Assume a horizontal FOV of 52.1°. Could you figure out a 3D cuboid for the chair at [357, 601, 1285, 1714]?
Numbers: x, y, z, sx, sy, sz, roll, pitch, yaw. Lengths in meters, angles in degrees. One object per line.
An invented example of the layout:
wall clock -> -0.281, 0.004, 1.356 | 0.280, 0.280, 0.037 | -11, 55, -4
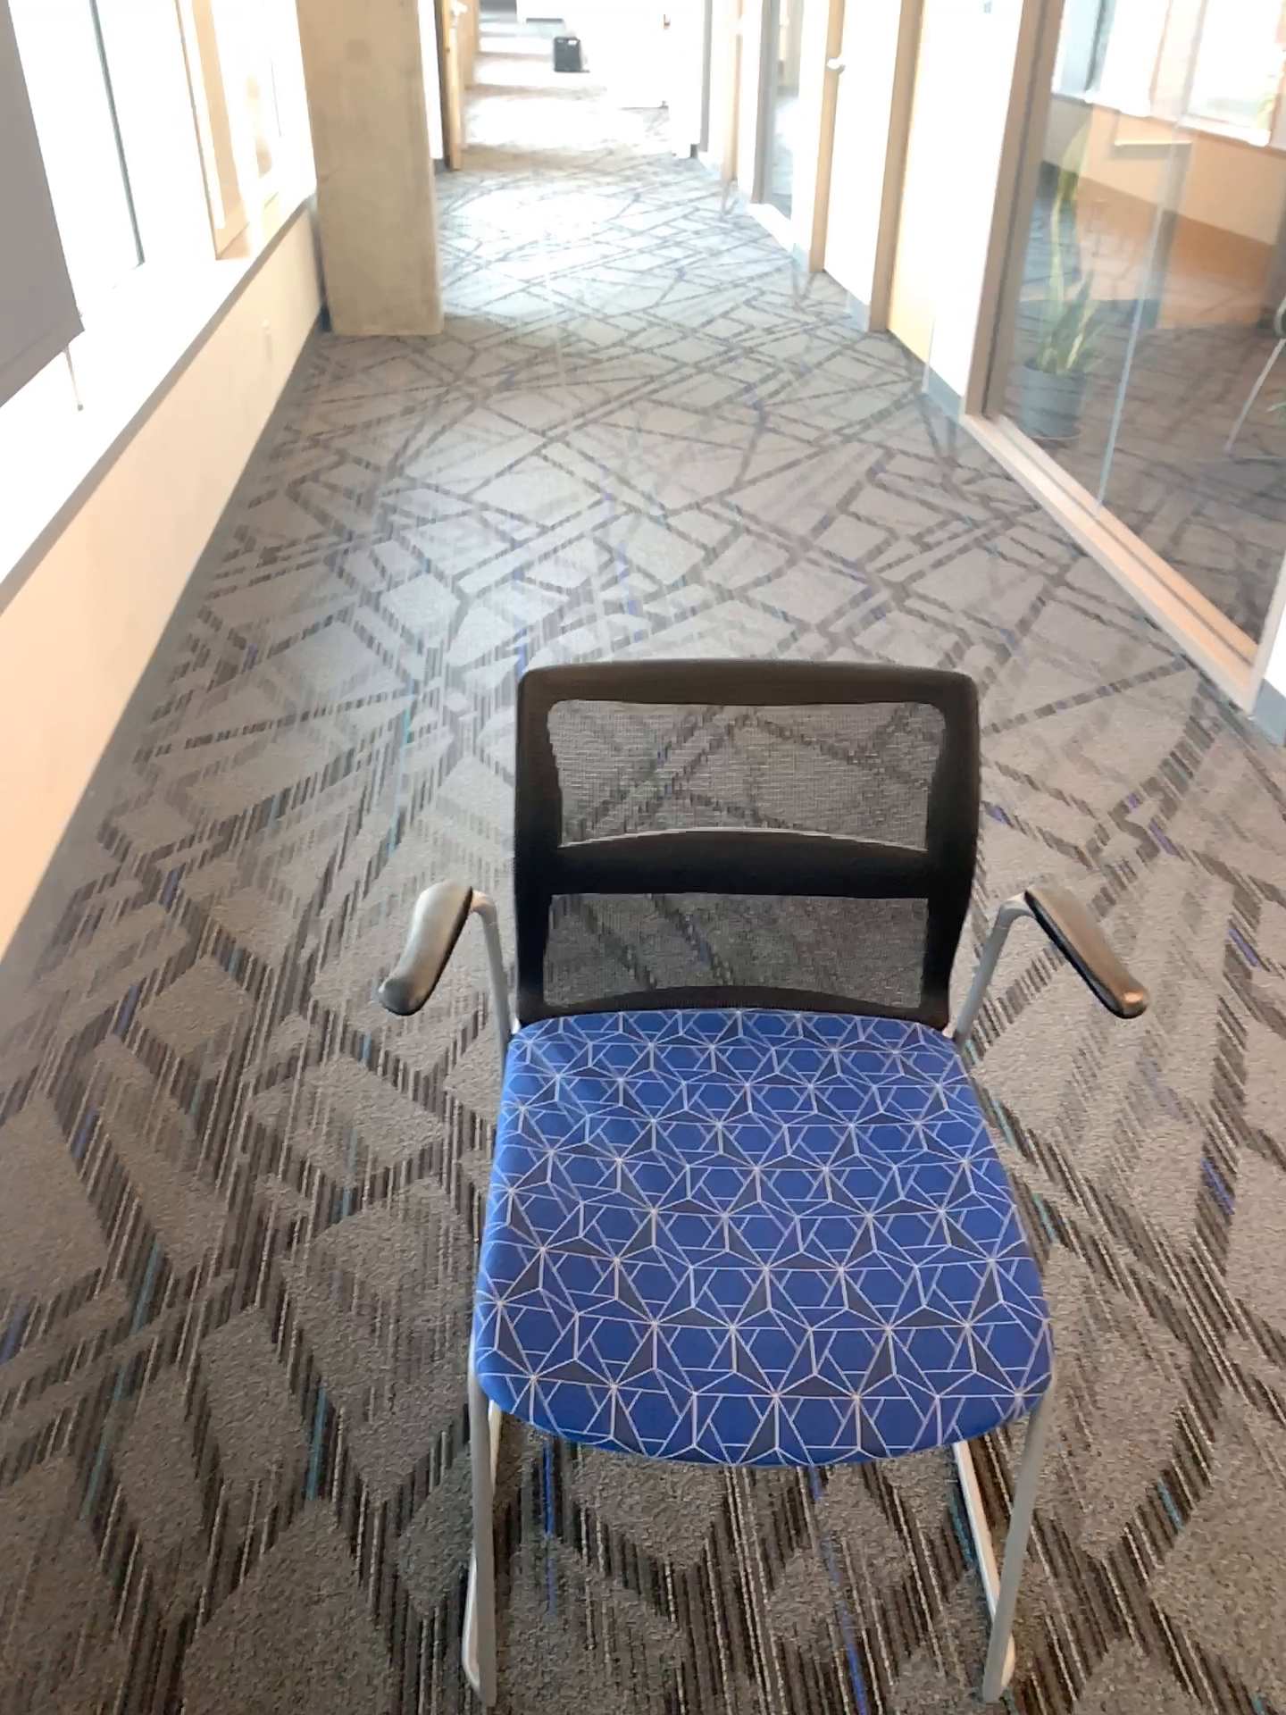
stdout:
chair -> 0.106, 0.252, 1.153 | 0.530, 0.763, 0.585 | 0, 34, -1
